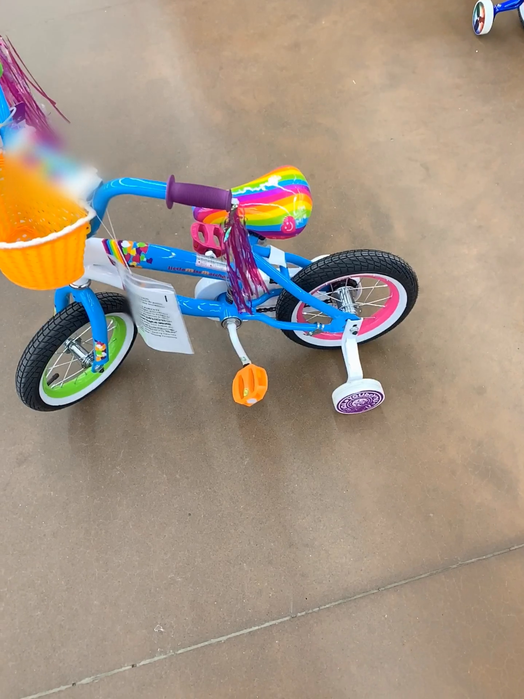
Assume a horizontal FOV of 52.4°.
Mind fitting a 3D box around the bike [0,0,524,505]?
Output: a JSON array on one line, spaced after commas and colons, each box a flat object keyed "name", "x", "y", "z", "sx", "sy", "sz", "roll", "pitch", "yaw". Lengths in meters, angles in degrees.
[{"name": "bike", "x": -0.118, "y": -0.199, "z": 0.962, "sx": 0.816, "sy": 0.664, "sz": 0.554, "roll": -17, "pitch": 56, "yaw": -6}]
